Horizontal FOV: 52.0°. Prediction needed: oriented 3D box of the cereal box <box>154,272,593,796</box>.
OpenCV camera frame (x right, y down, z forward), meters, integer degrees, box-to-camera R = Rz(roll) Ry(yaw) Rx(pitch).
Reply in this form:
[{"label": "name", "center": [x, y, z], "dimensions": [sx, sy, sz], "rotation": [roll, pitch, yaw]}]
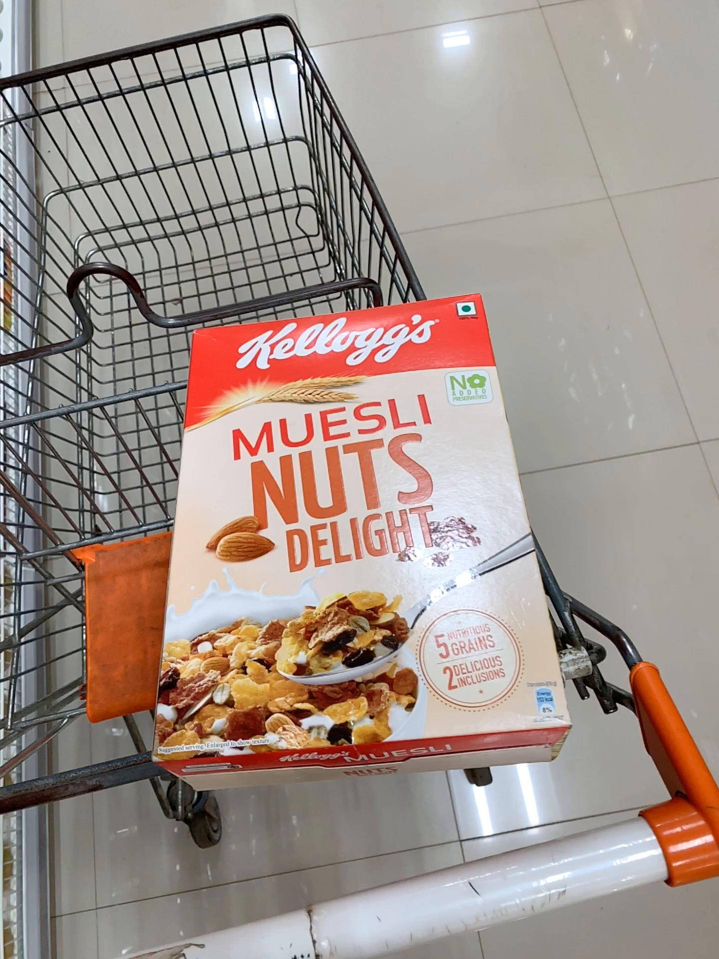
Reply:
[{"label": "cereal box", "center": [-0.003, 0.020, 0.420], "dimensions": [0.190, 0.080, 0.271], "rotation": [-7, 60, 2]}]
